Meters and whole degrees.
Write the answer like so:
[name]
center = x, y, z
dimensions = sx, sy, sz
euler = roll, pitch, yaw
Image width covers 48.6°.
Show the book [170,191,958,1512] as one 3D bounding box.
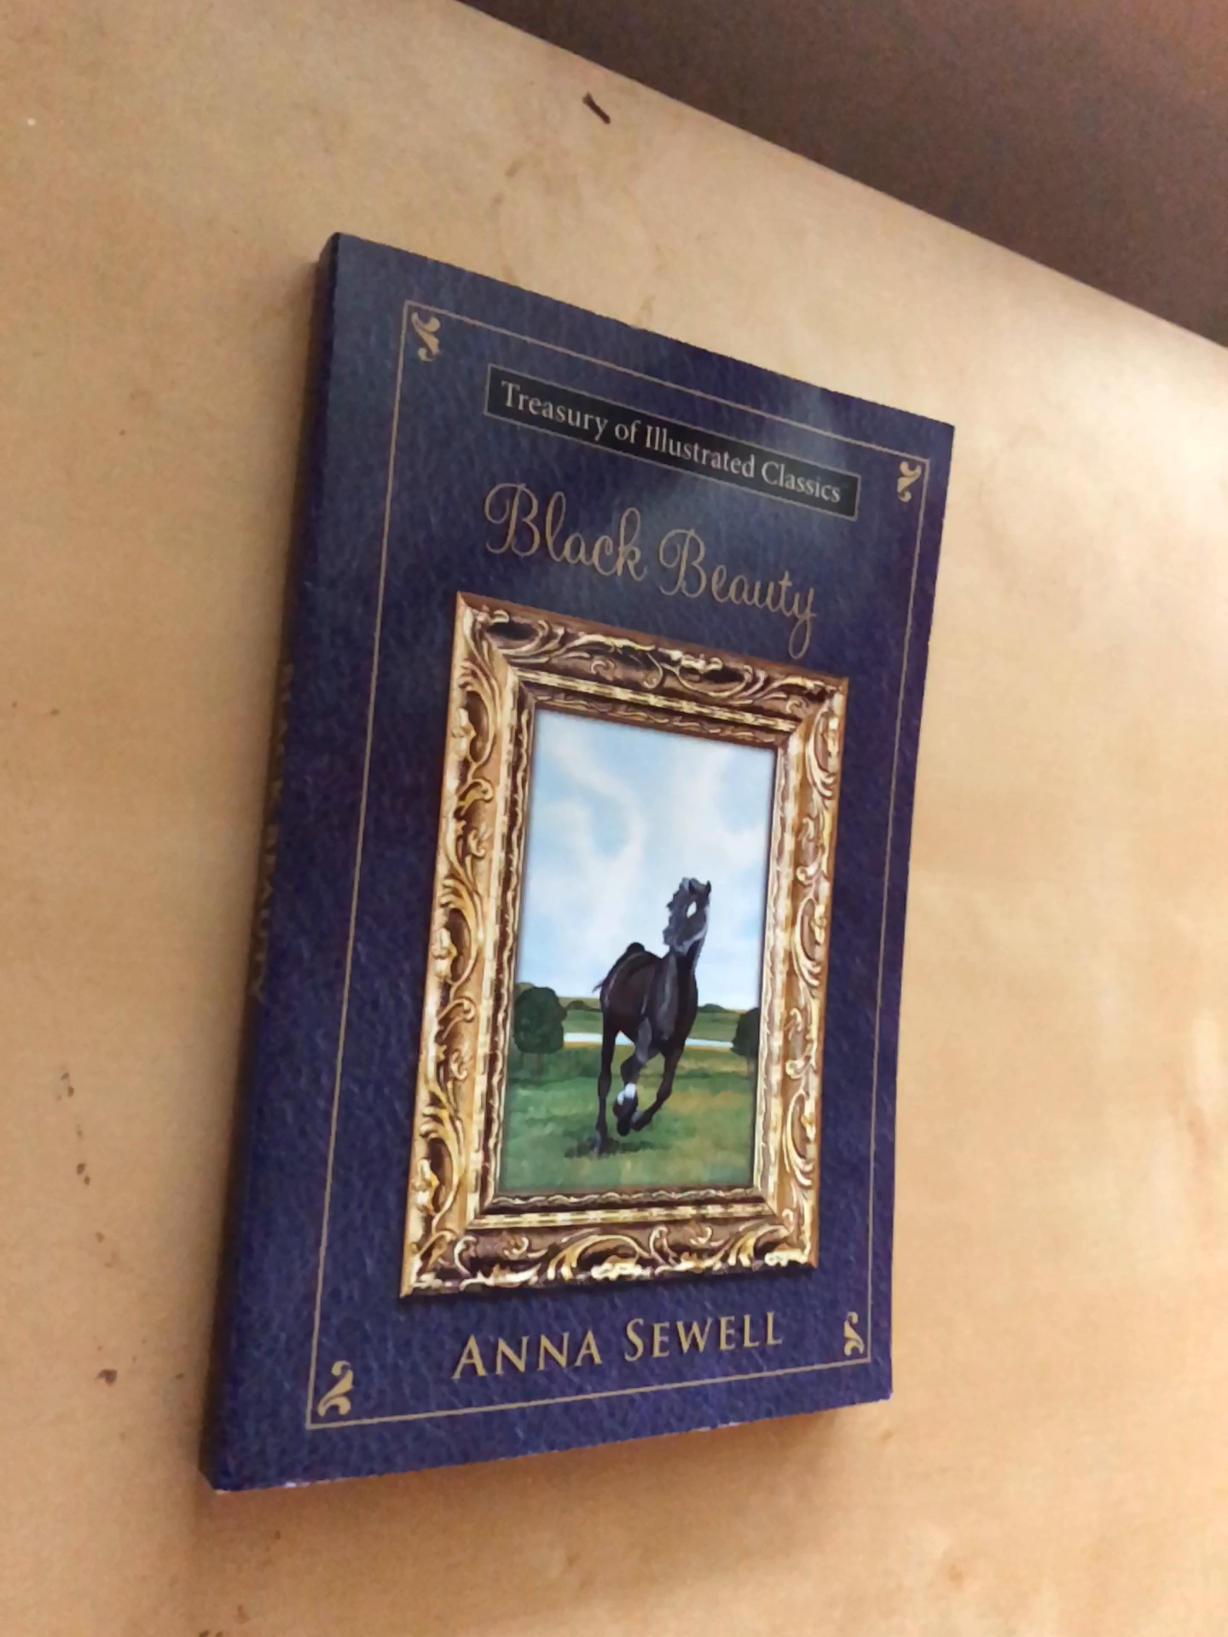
[book]
center = 0.000, 0.008, 0.239
dimensions = 0.126, 0.025, 0.193
euler = 8, 83, -29
